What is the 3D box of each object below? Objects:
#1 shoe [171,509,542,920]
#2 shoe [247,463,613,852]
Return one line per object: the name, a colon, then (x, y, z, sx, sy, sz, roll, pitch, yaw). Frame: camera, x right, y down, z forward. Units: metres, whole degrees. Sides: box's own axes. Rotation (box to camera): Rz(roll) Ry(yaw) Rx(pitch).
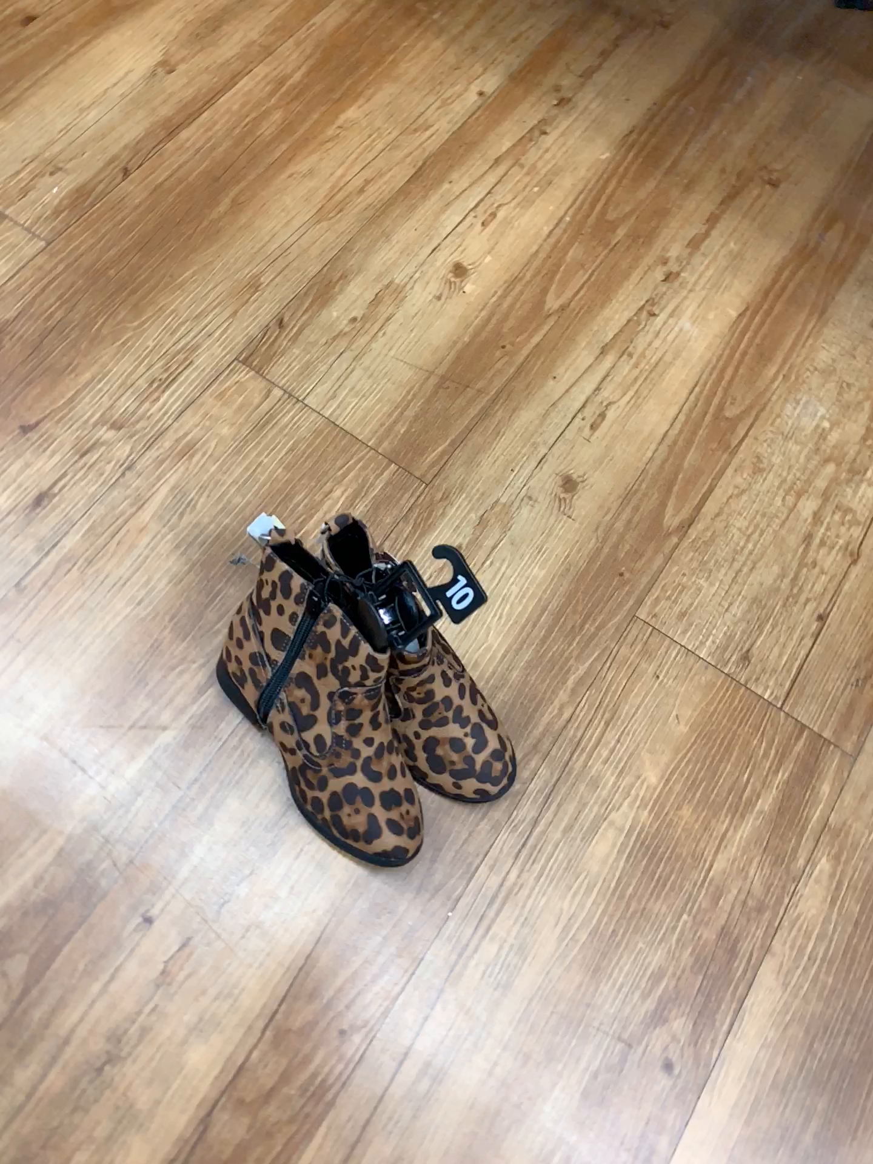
shoe: (-0.052, 0.072, 0.496, 0.180, 0.120, 0.070, 50, 42, 13)
shoe: (-0.011, 0.047, 0.494, 0.070, 0.120, 0.190, -40, 78, -19)
